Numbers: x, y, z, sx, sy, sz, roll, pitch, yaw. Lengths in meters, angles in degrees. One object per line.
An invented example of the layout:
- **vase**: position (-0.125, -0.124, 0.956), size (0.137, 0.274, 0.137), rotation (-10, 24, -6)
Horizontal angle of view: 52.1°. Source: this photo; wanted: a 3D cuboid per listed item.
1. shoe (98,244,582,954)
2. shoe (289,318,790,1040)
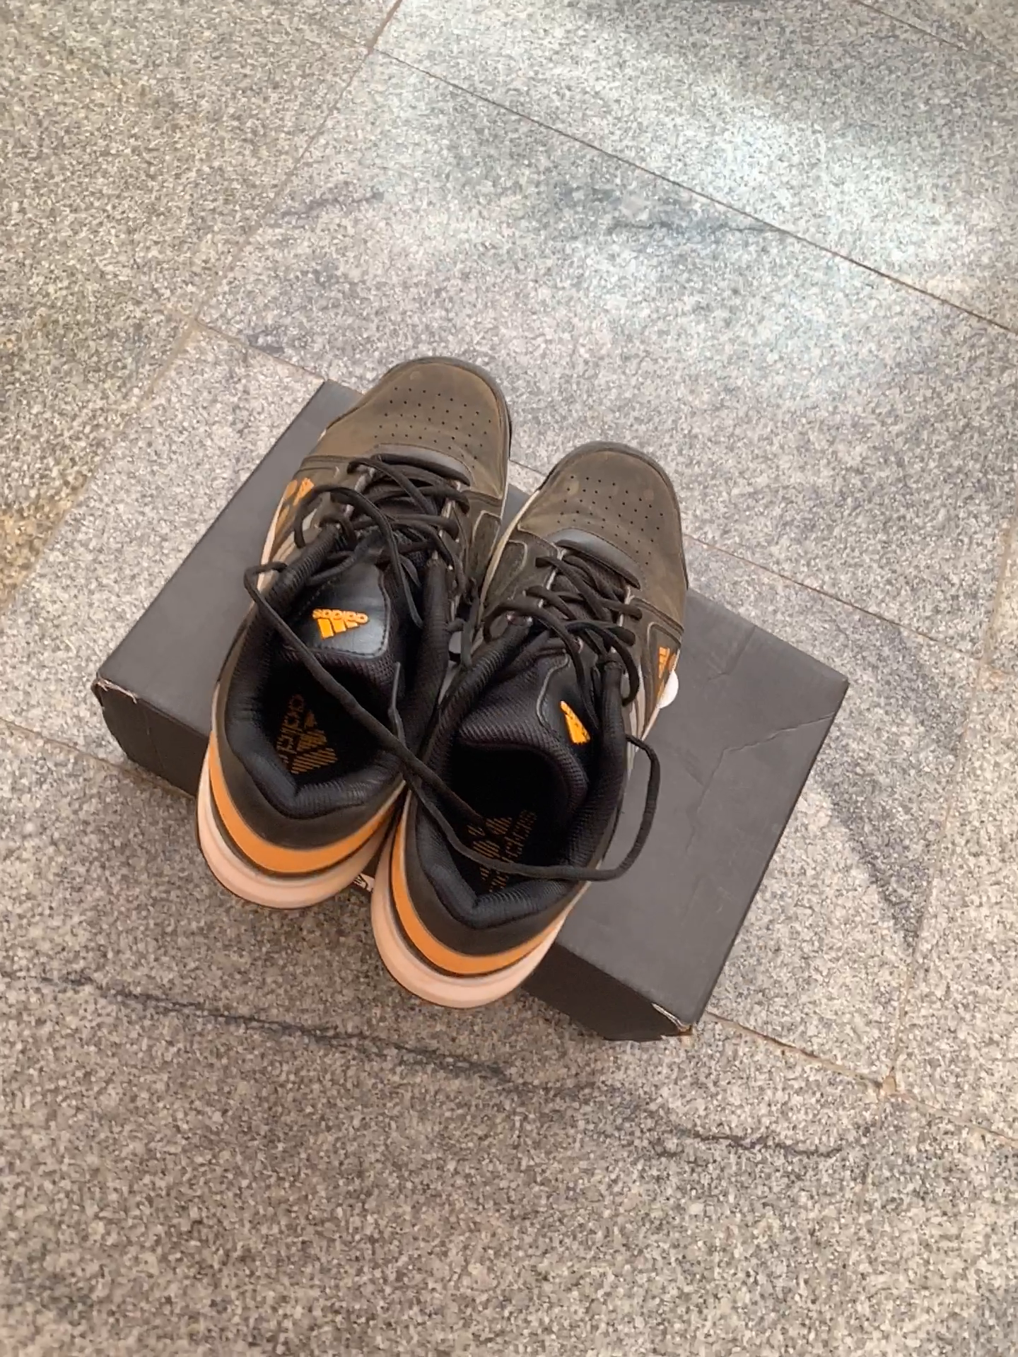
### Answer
- **shoe**: position (-0.070, -0.039, 0.485), size (0.110, 0.090, 0.301), rotation (22, 68, -10)
- **shoe**: position (0.019, -0.004, 0.464), size (0.110, 0.090, 0.291), rotation (23, 68, -1)
